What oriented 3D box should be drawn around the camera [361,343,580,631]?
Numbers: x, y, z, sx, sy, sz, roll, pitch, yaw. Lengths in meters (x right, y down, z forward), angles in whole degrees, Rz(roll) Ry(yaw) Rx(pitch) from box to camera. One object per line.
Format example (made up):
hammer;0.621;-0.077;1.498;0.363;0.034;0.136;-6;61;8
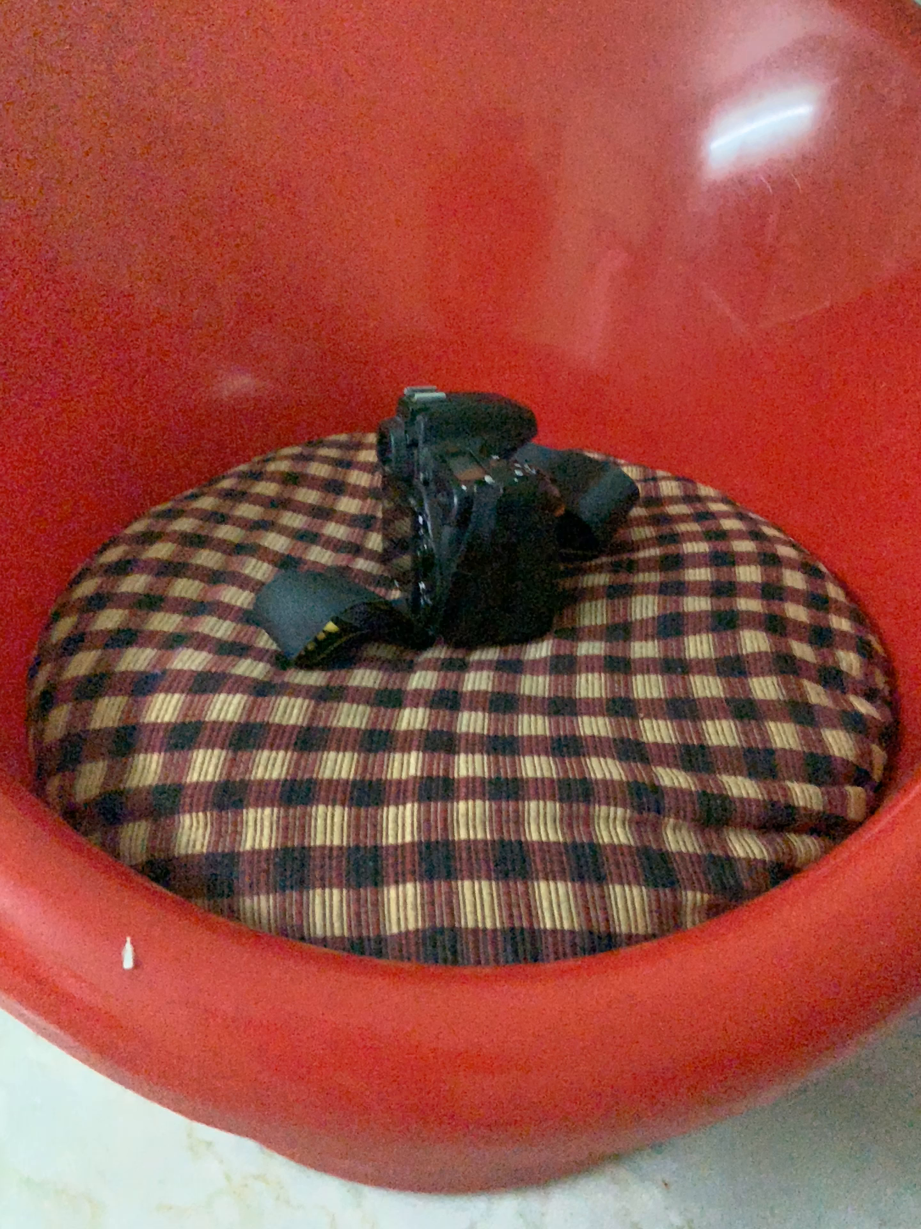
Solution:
camera;-0.002;-0.072;0.490;0.080;0.090;0.141;-5;35;-10
